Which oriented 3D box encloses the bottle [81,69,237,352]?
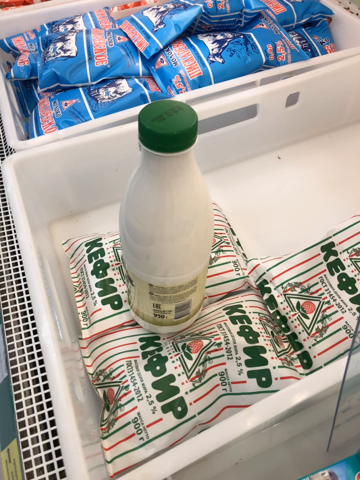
[{"bbox_3d":[-0.012,0.001,0.360,0.090,0.269,0.090,-1,52,2],"label":"bottle"}]
